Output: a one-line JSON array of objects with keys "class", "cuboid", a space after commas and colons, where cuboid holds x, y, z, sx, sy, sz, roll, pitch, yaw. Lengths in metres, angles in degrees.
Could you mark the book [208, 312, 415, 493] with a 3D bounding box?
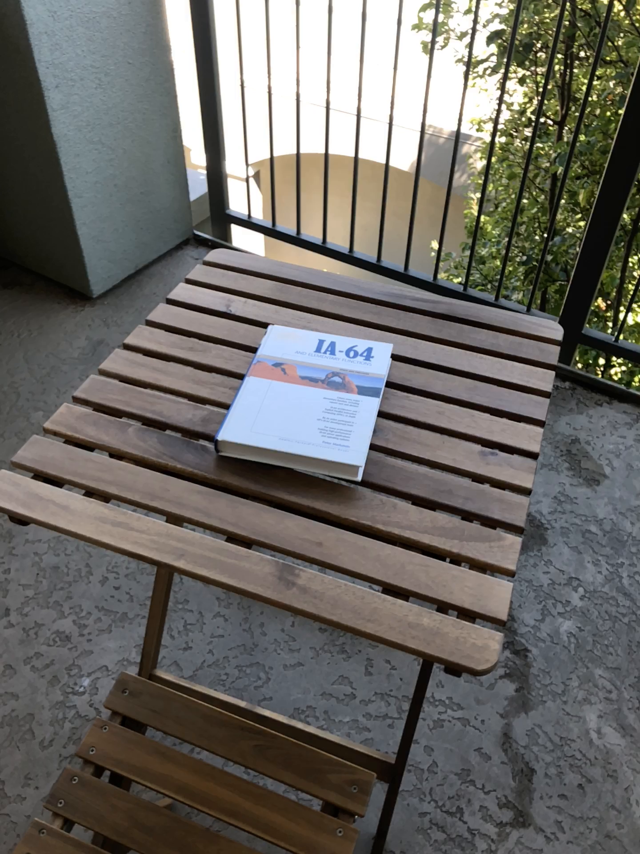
[{"class": "book", "cuboid": [-0.001, -0.042, 0.894, 0.200, 0.040, 0.251, 11, 45, 9]}]
